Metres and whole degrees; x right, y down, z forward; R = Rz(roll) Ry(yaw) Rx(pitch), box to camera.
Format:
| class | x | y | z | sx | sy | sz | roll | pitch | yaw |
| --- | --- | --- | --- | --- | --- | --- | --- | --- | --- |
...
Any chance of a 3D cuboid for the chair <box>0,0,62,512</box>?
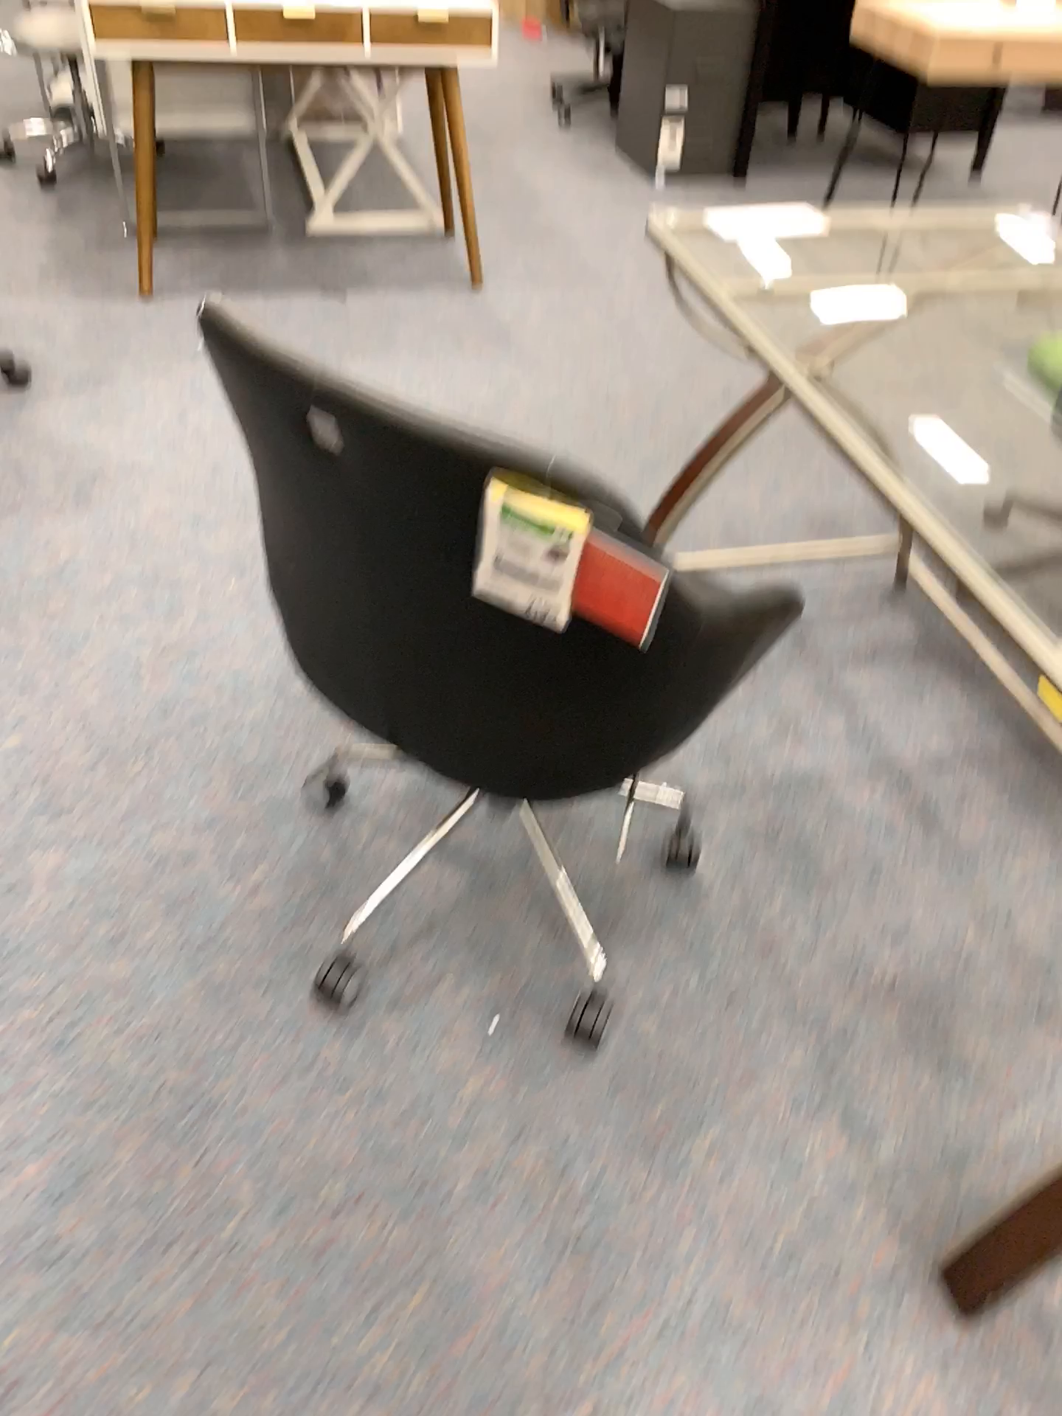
| class | x | y | z | sx | sy | sz | roll | pitch | yaw |
| --- | --- | --- | --- | --- | --- | --- | --- | --- | --- |
| chair | -1.493 | -1.080 | 2.245 | 0.727 | 0.923 | 0.858 | -12 | 44 | -17 |

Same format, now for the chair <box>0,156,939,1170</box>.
| class | x | y | z | sx | sy | sz | roll | pitch | yaw |
| --- | --- | --- | --- | --- | --- | --- | --- | --- | --- |
| chair | -0.061 | -0.083 | 1.321 | 0.658 | 0.844 | 0.656 | 28 | 47 | 24 |
